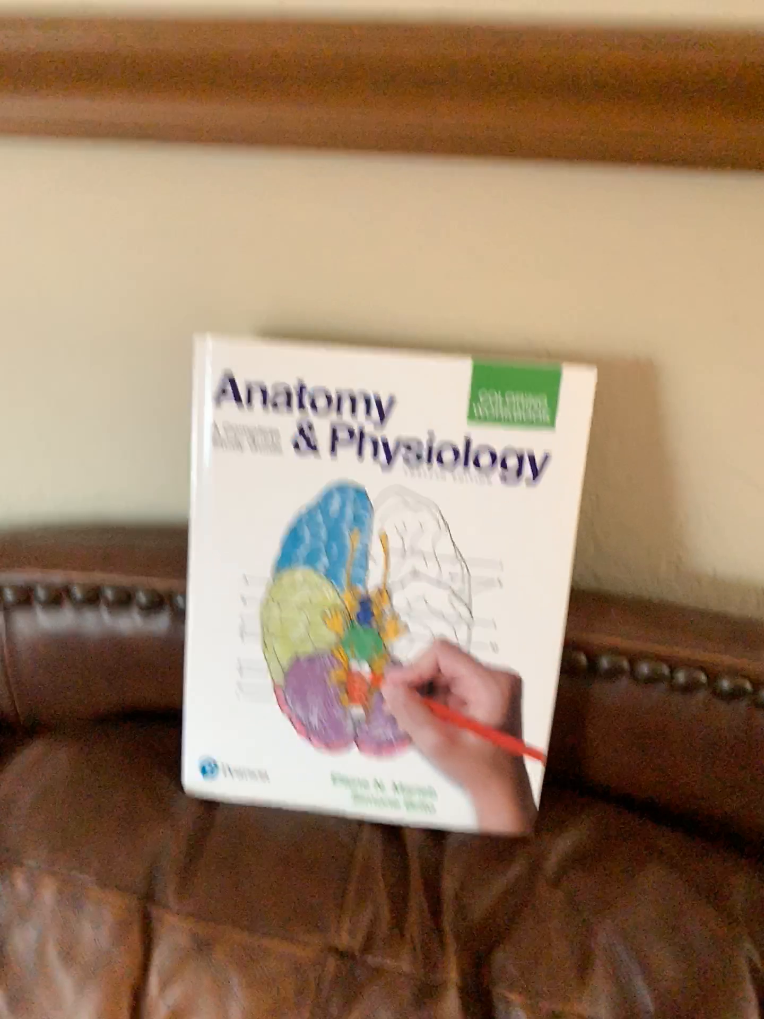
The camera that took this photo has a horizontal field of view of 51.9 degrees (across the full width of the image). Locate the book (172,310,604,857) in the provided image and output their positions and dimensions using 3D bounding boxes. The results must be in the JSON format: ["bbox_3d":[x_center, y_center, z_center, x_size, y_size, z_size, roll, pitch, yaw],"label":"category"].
[{"bbox_3d":[-0.004,0.040,0.455,0.220,0.289,0.060,4,12,7],"label":"book"}]
